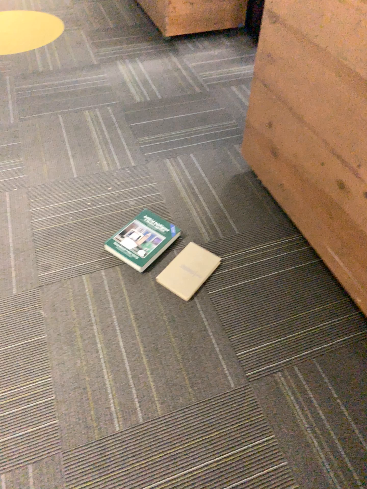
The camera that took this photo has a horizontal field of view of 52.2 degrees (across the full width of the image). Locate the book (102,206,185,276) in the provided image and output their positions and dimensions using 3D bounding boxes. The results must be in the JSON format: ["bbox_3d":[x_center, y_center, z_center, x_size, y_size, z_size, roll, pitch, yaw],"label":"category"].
[{"bbox_3d":[-0.165,-0.023,1.576,0.221,0.050,0.271,30,56,22],"label":"book"}]

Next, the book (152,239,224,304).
[{"bbox_3d":[0.021,0.098,1.482,0.170,0.023,0.246,30,56,22],"label":"book"}]
